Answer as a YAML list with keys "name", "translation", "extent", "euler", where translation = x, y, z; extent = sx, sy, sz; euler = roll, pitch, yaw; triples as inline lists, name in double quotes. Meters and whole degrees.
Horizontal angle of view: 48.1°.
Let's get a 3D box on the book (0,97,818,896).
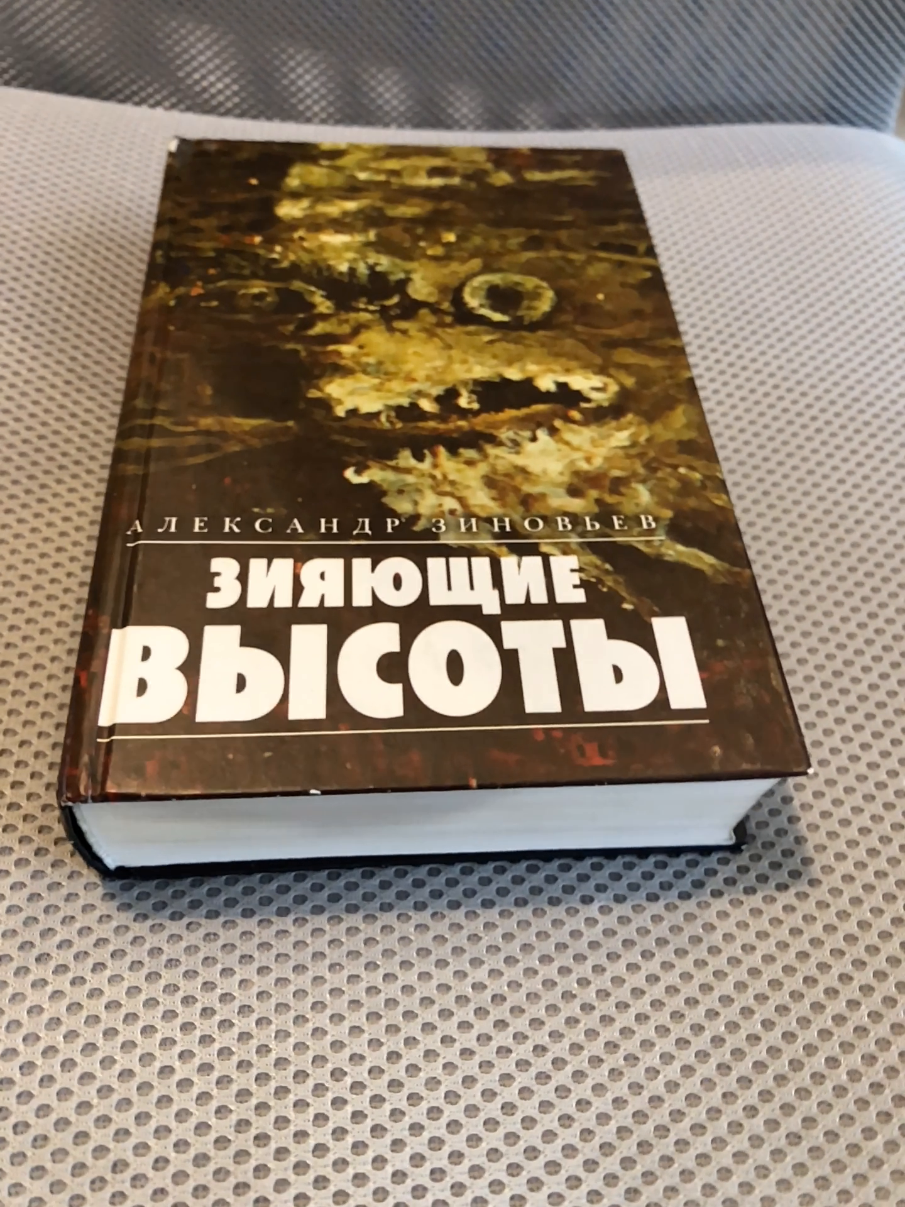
- name: "book"
  translation: [-0.013, -0.037, 0.234]
  extent: [0.140, 0.040, 0.191]
  euler: [-1, 60, -6]
